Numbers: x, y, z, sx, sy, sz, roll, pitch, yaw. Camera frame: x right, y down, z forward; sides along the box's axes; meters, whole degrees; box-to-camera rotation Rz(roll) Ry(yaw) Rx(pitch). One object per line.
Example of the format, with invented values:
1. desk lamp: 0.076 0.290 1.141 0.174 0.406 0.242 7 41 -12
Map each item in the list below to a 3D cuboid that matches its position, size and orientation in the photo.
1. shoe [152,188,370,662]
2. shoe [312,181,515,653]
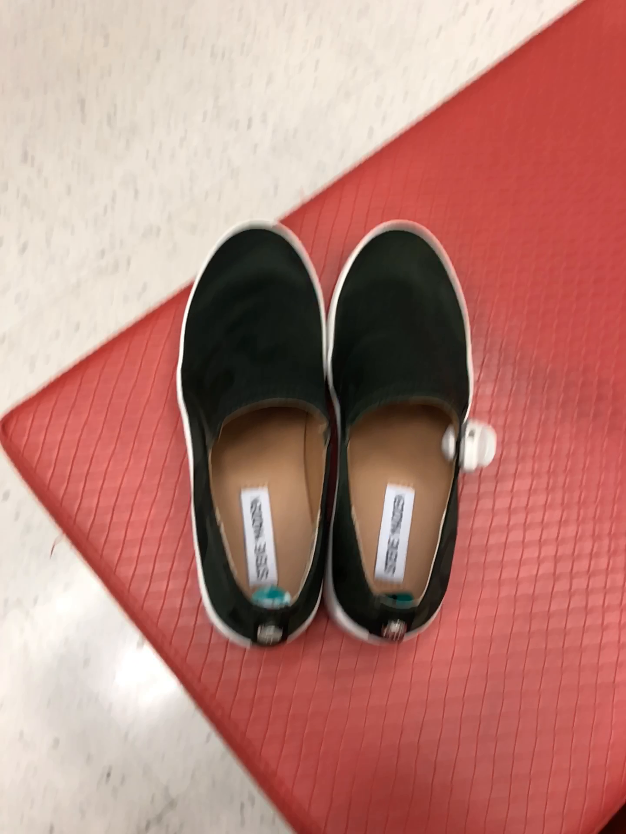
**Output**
1. shoe: -0.034 0.004 0.391 0.091 0.090 0.243 -4 73 -5
2. shoe: 0.051 0.001 0.398 0.088 0.090 0.249 3 72 -3
